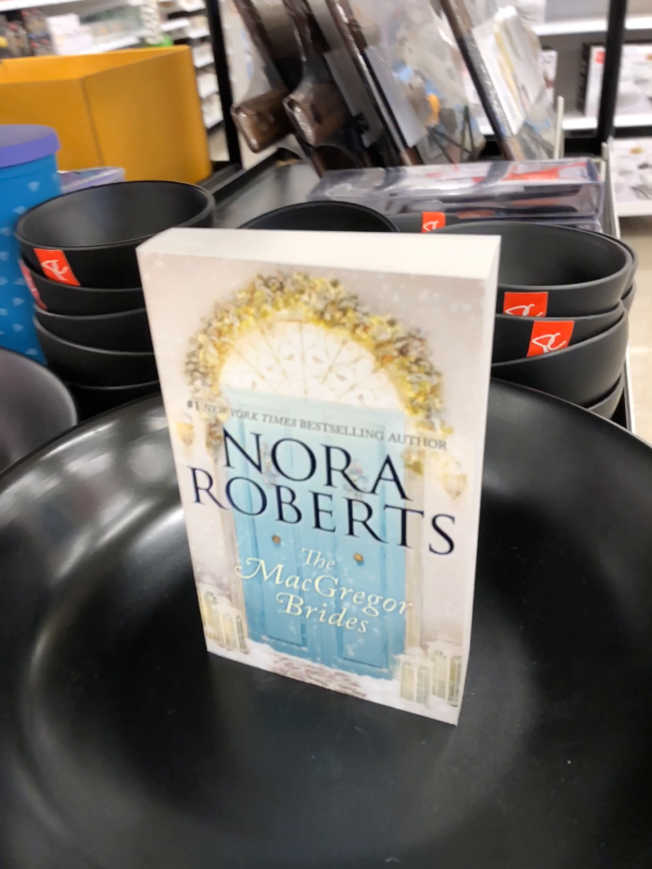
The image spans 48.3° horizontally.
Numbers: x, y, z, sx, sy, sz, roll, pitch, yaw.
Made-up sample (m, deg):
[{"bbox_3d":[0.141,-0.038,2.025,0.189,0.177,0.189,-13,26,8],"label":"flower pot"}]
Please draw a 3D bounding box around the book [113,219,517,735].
[{"bbox_3d":[0.001,0.017,0.253,0.111,0.168,0.040,9,33,22],"label":"book"}]
